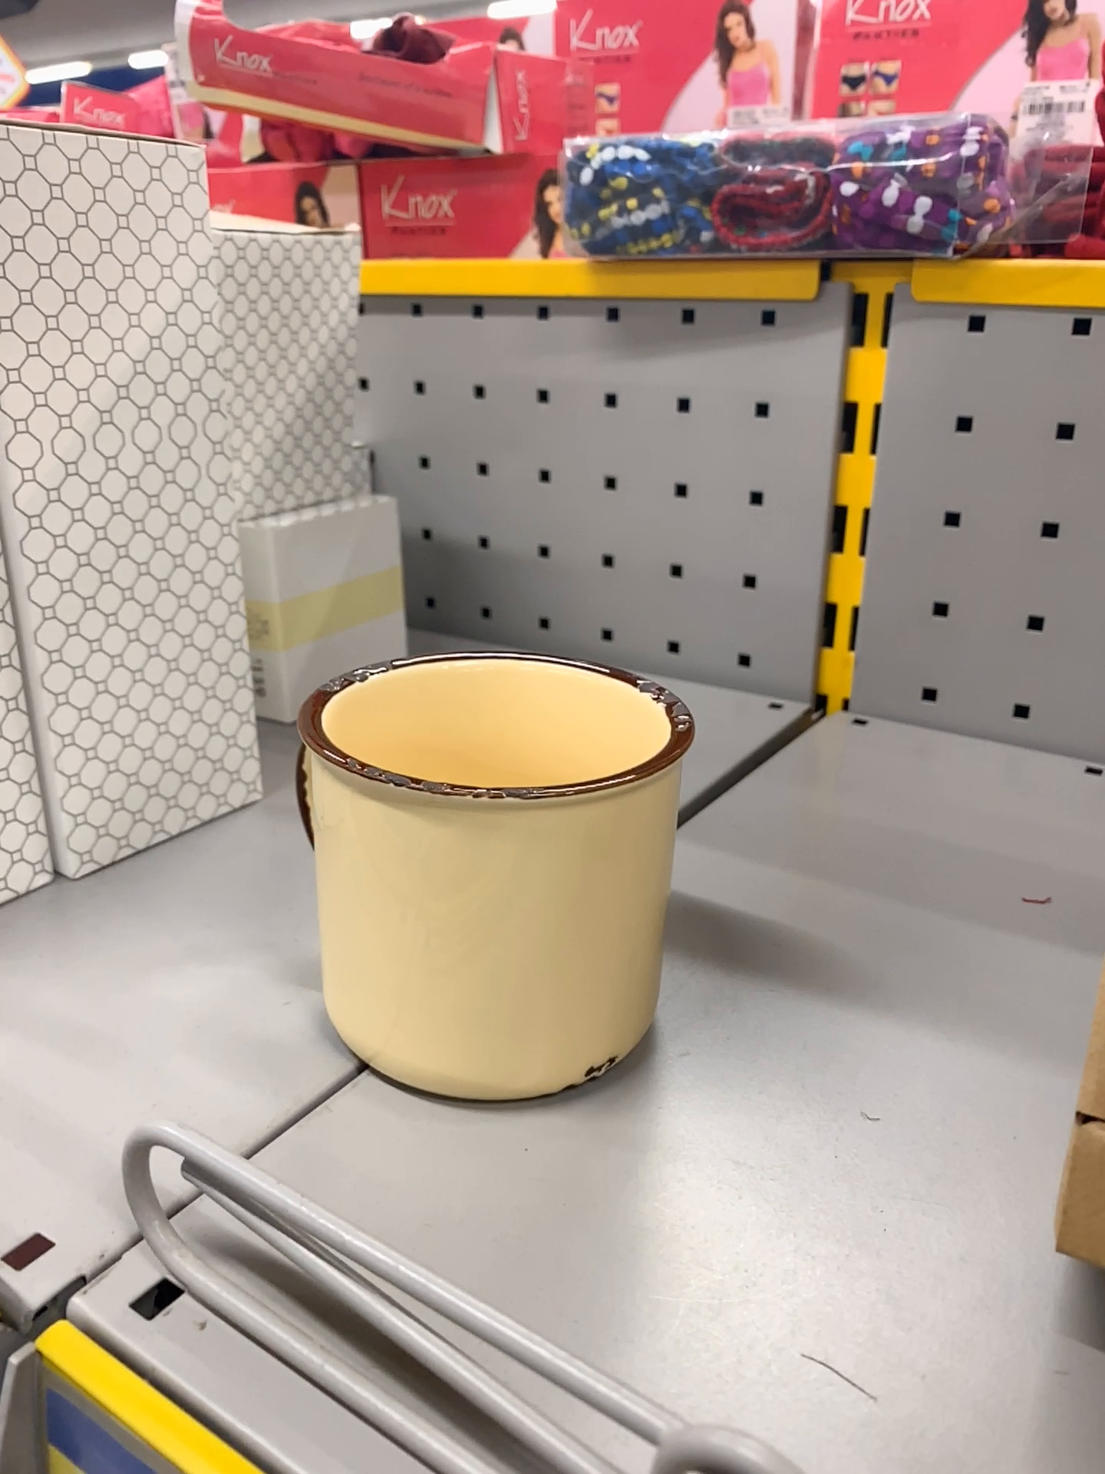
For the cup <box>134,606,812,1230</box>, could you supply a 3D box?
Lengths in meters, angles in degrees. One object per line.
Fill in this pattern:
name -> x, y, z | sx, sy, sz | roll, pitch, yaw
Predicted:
cup -> -0.018, 0.028, 0.268 | 0.120, 0.080, 0.090 | 17, 27, 35
